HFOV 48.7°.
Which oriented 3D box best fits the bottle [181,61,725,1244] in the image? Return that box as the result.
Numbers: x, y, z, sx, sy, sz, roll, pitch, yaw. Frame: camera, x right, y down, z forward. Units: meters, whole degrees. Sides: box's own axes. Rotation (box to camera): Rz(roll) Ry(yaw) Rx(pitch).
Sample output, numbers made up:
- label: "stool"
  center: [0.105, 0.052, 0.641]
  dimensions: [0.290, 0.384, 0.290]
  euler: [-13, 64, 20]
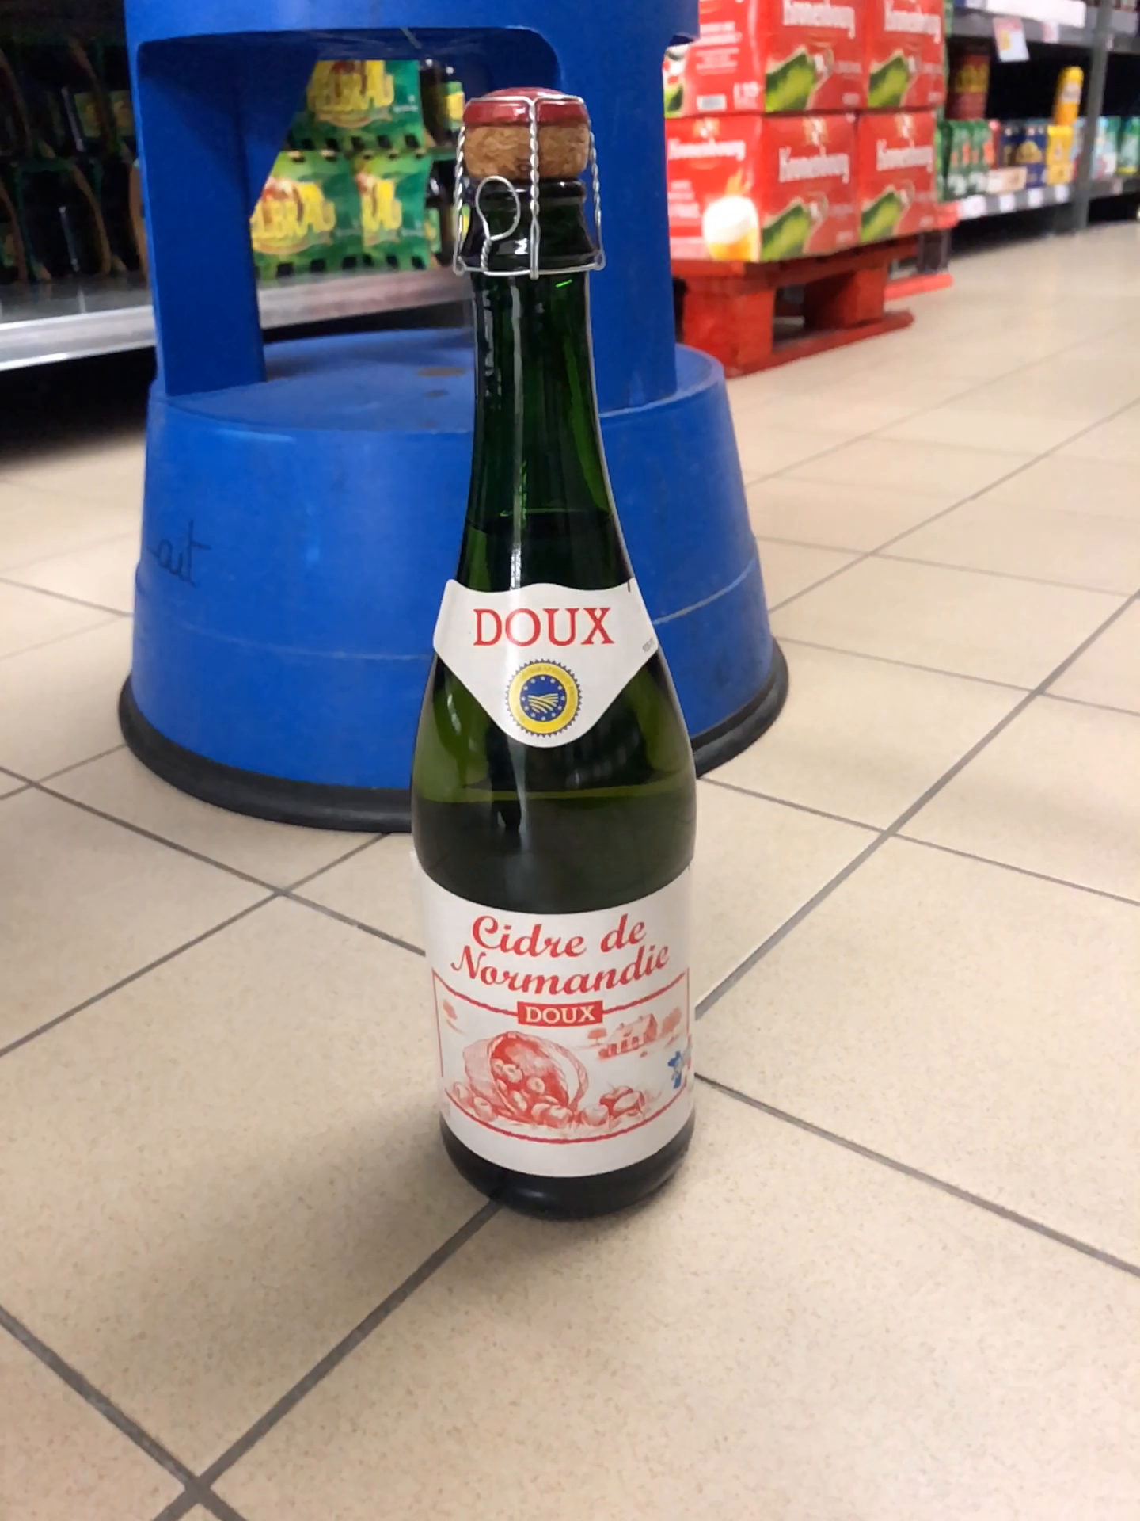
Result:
- label: "bottle"
  center: [-0.014, -0.018, 0.339]
  dimensions: [0.100, 0.288, 0.091]
  euler: [2, 25, 10]
